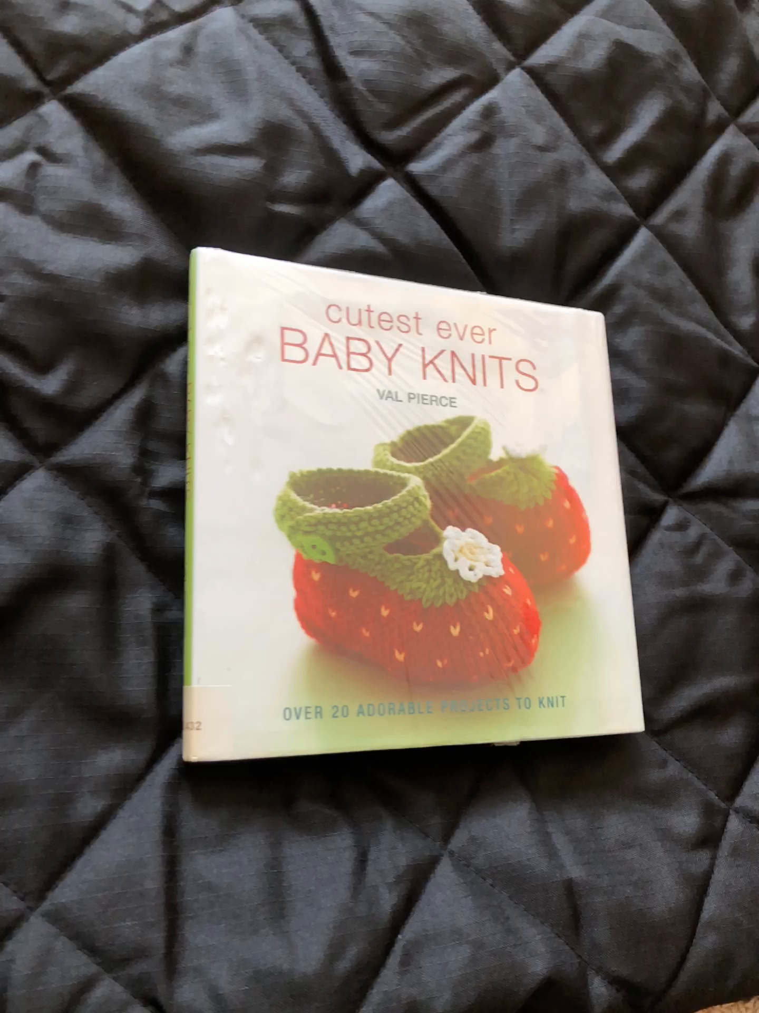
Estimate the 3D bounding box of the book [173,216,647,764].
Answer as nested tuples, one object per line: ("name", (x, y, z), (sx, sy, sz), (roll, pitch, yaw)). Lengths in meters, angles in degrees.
("book", (0.017, -0.006, 0.349), (0.197, 0.020, 0.200), (3, 77, -24))
